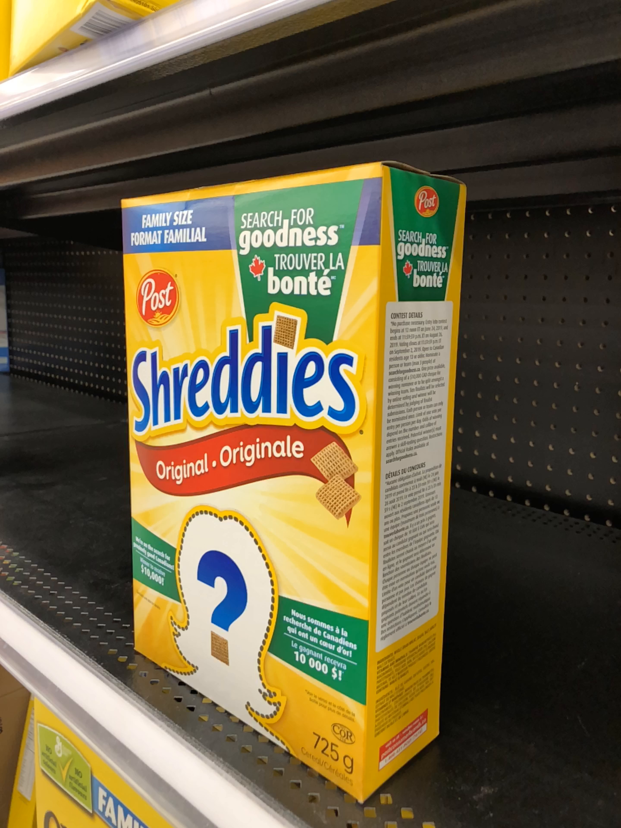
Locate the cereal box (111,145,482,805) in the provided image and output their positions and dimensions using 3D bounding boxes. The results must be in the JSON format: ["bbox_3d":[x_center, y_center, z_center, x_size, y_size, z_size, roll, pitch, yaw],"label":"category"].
[{"bbox_3d":[-0.024,0.018,0.389,0.210,0.289,0.070,10,13,43],"label":"cereal box"}]
